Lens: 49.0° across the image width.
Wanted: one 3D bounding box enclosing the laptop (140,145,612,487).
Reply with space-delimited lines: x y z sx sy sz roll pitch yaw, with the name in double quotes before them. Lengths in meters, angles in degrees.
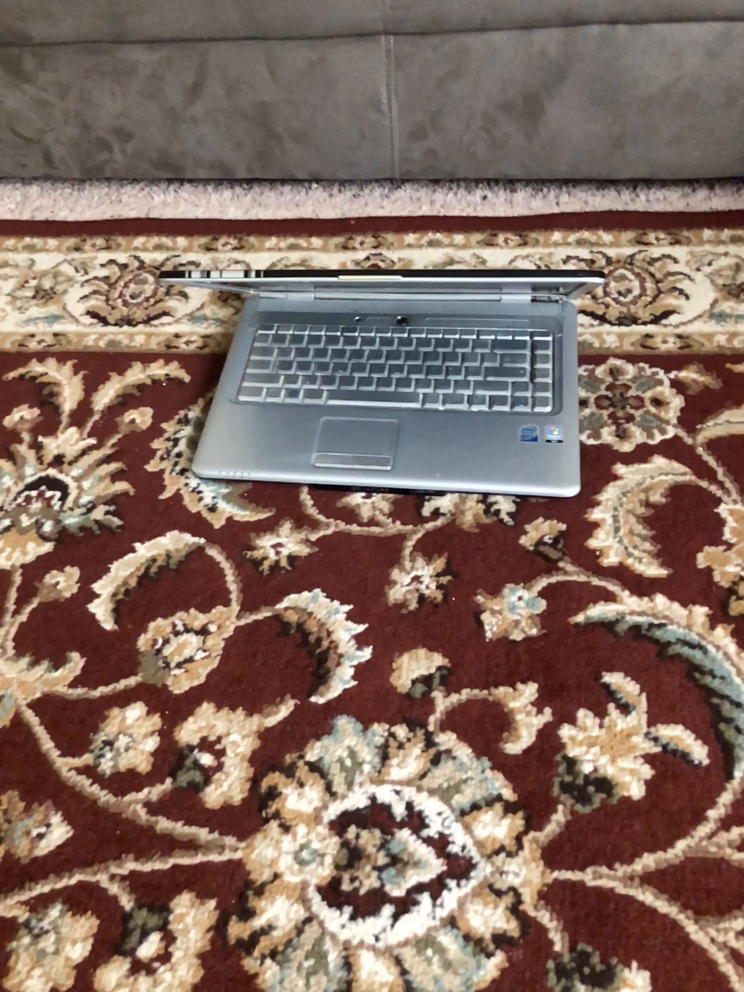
"laptop" 0.019 -0.163 0.721 0.342 0.164 0.244 3 52 8
